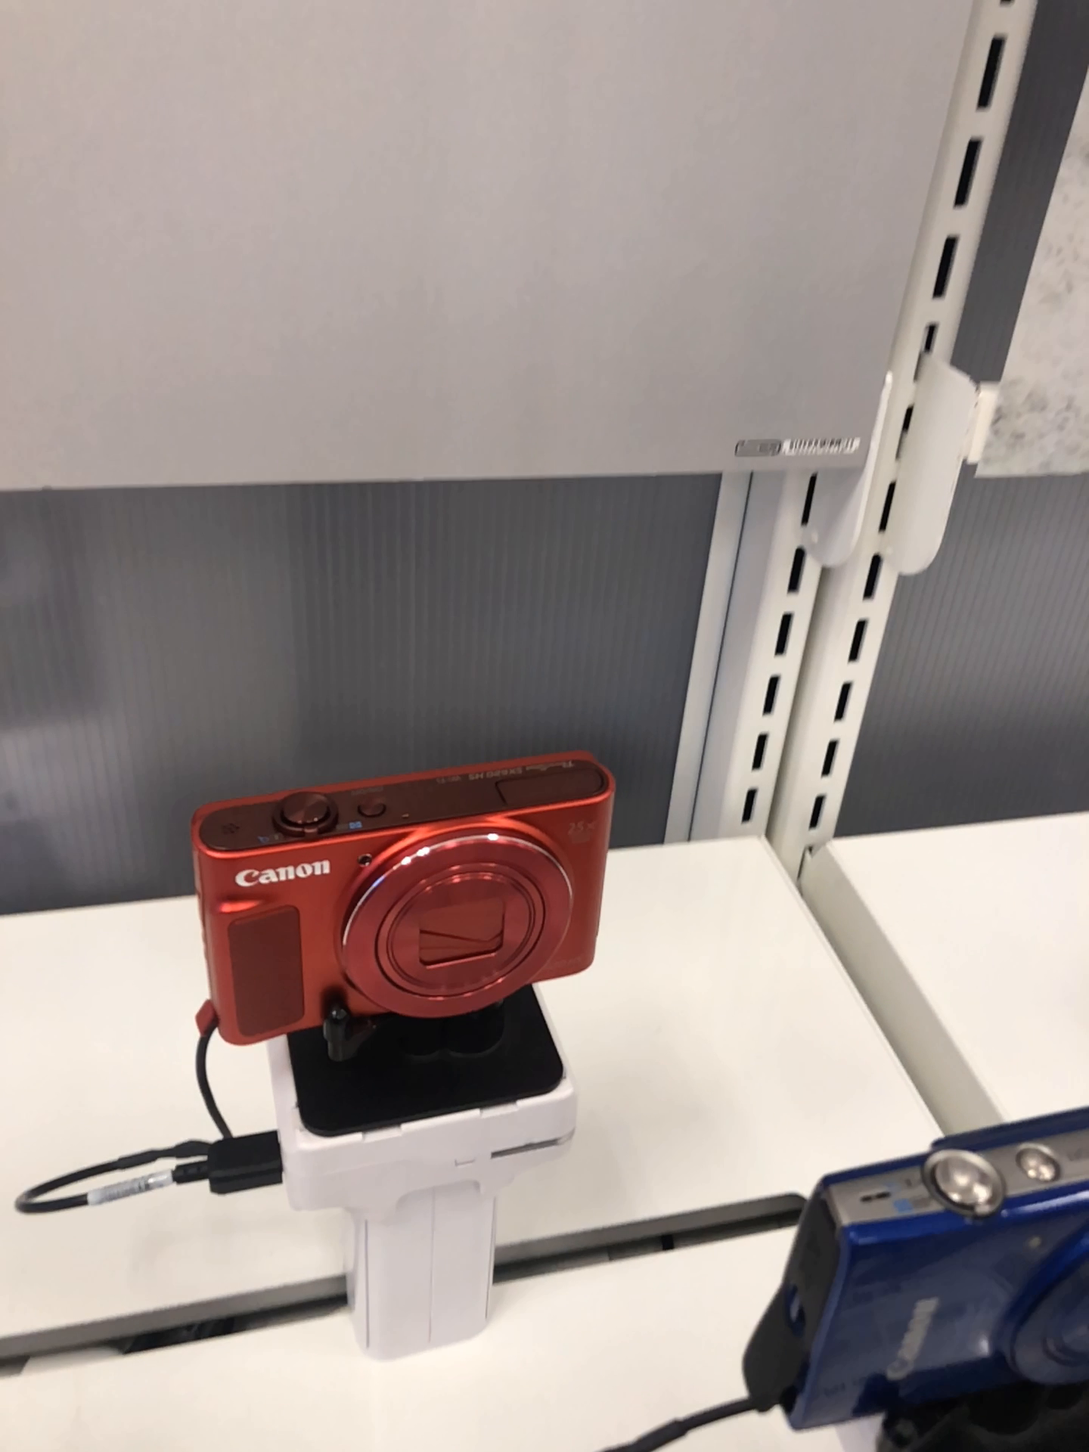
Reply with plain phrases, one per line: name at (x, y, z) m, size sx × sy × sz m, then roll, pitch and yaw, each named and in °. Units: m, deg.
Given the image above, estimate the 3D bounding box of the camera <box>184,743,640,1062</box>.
camera at (-0.030, 0.039, 0.278) m, size 0.096 × 0.053 × 0.028 m, roll -7°, pitch 35°, yaw -17°
